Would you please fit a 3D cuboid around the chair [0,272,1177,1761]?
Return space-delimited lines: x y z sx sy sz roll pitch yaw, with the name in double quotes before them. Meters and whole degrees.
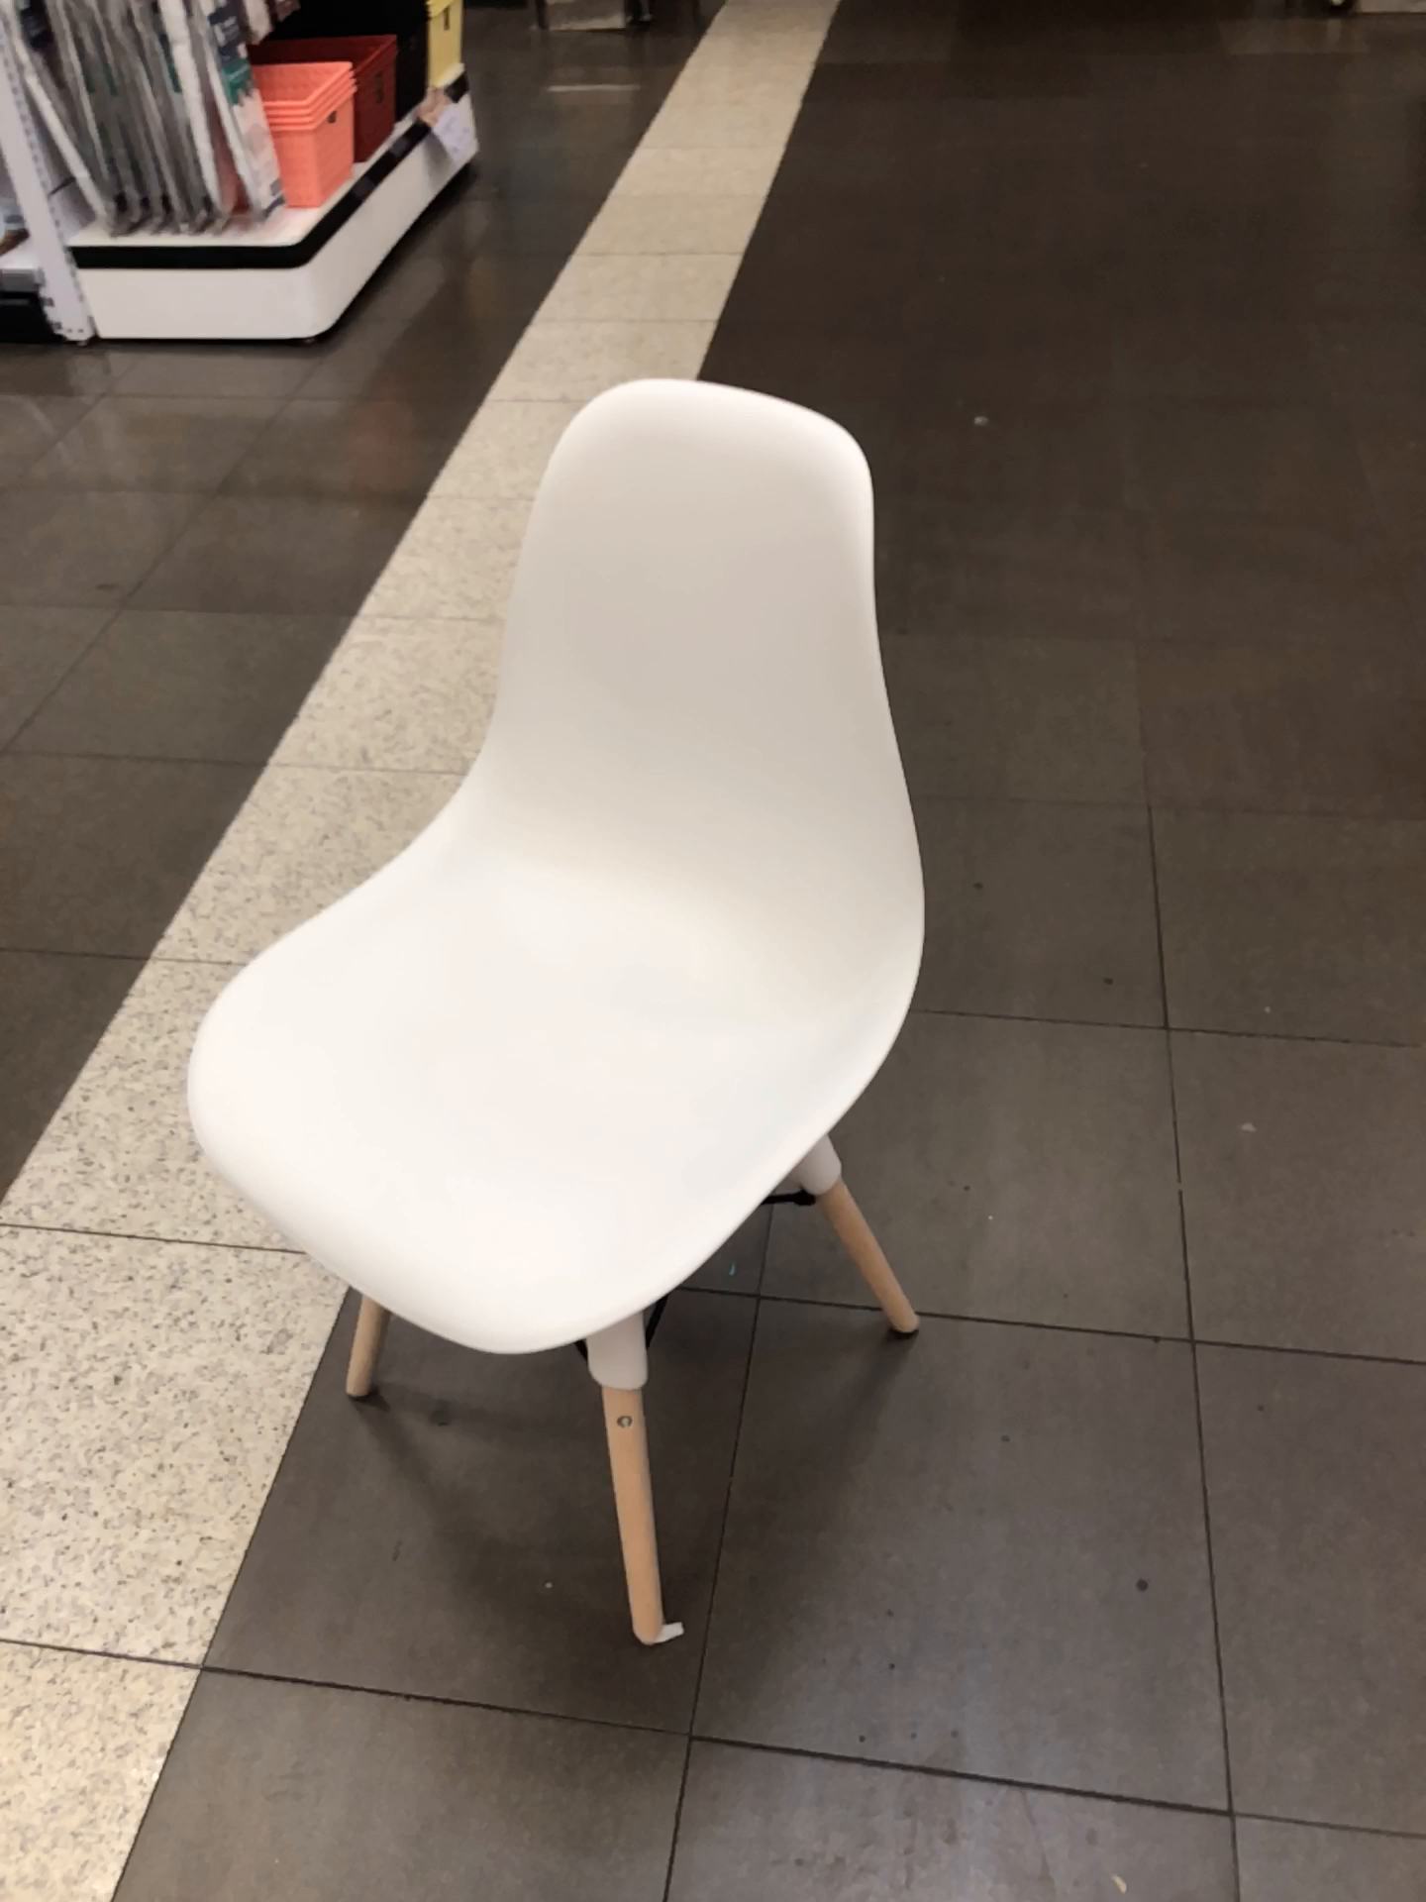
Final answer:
"chair" -0.086 0.039 1.156 0.521 0.795 0.542 30 52 33
